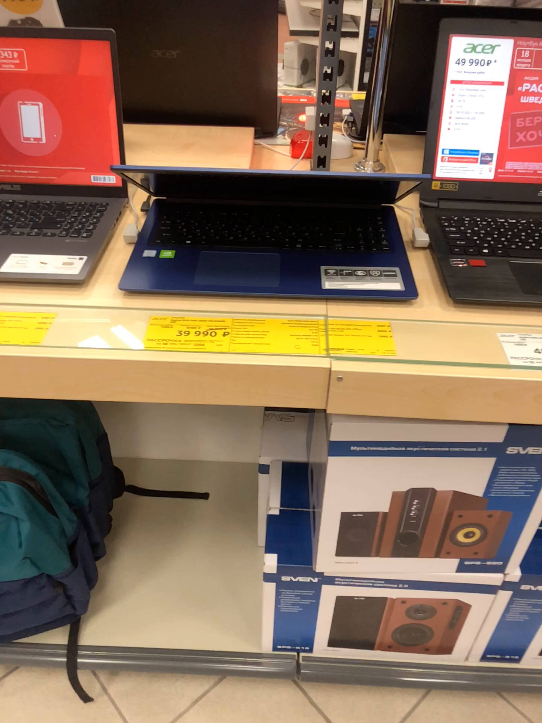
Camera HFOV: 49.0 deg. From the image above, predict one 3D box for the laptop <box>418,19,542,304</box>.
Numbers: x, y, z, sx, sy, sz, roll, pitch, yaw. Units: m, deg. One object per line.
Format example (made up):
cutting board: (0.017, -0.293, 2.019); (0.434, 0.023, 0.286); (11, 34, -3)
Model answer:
laptop: (0.405, -0.277, 0.769); (0.357, 0.226, 0.355); (3, 39, 4)

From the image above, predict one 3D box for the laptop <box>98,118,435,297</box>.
laptop: (-0.002, -0.212, 0.779); (0.367, 0.126, 0.247); (2, 39, 2)

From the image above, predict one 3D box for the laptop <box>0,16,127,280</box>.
laptop: (-0.436, -0.295, 0.792); (0.390, 0.206, 0.304); (3, 41, 1)
